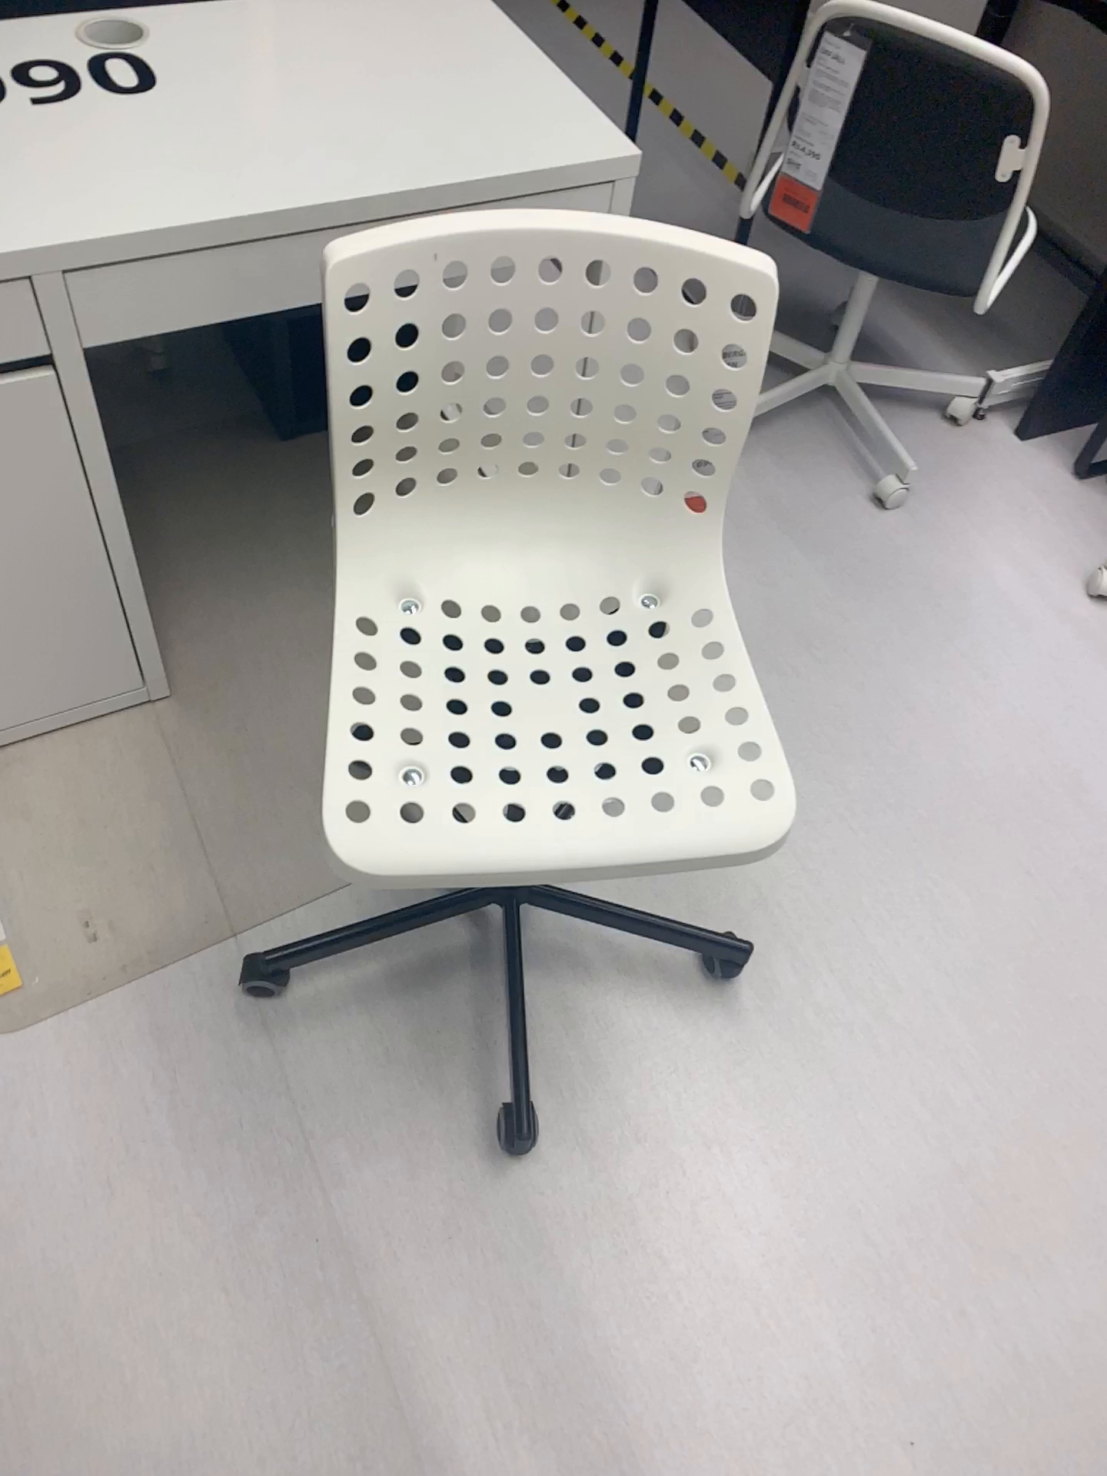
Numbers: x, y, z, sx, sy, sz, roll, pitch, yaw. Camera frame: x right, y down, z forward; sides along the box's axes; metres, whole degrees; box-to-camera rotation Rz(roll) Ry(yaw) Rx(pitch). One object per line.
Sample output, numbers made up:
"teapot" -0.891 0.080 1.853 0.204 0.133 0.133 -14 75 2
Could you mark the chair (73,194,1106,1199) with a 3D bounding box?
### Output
"chair" -0.039 -0.013 1.197 0.680 0.788 0.672 -5 55 -11
